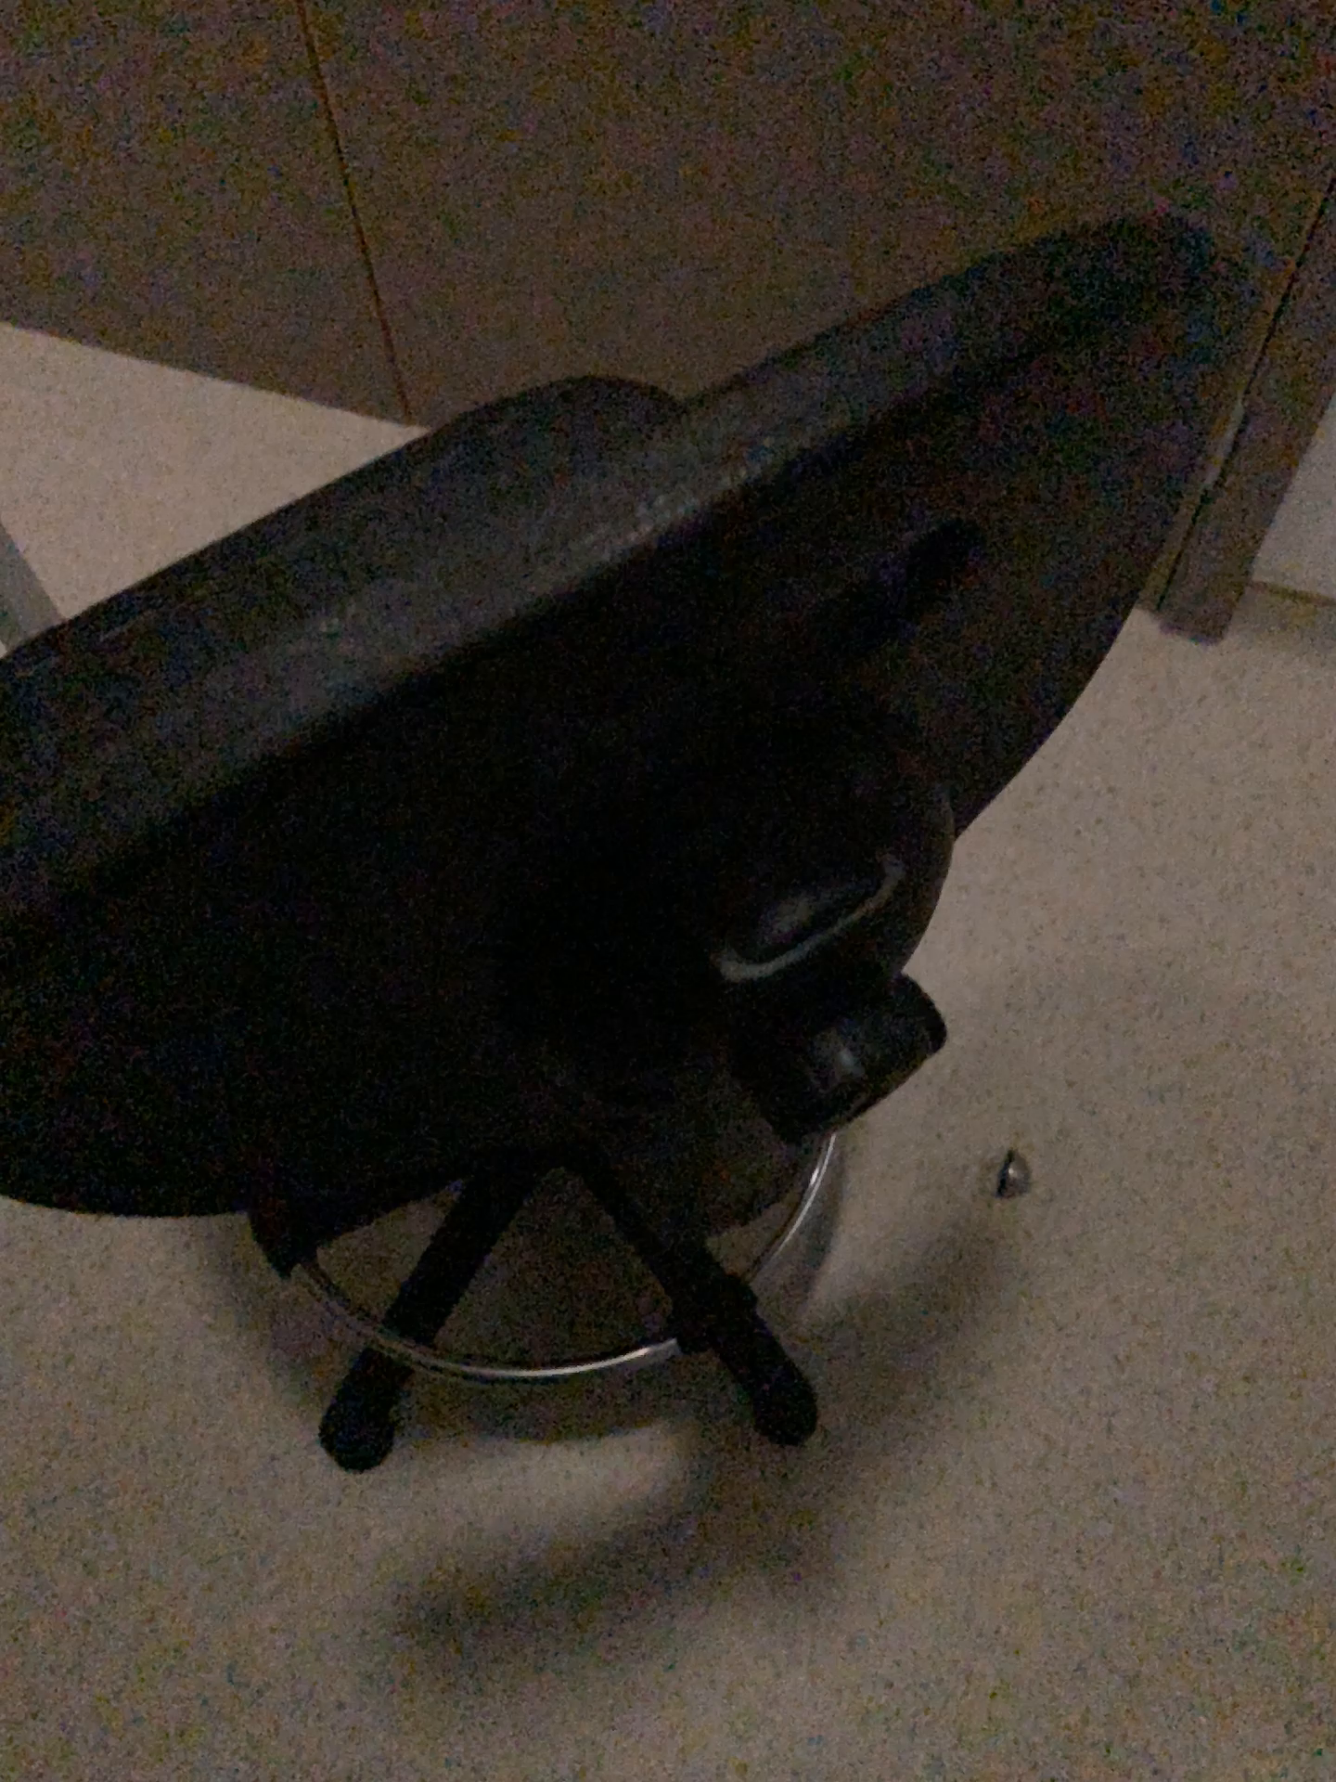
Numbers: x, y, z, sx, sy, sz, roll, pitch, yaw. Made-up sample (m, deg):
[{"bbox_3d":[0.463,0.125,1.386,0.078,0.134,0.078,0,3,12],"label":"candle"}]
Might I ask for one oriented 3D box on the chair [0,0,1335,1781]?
[{"bbox_3d":[-0.084,-0.071,0.704,0.621,0.934,0.673,-31,64,-14],"label":"chair"}]
